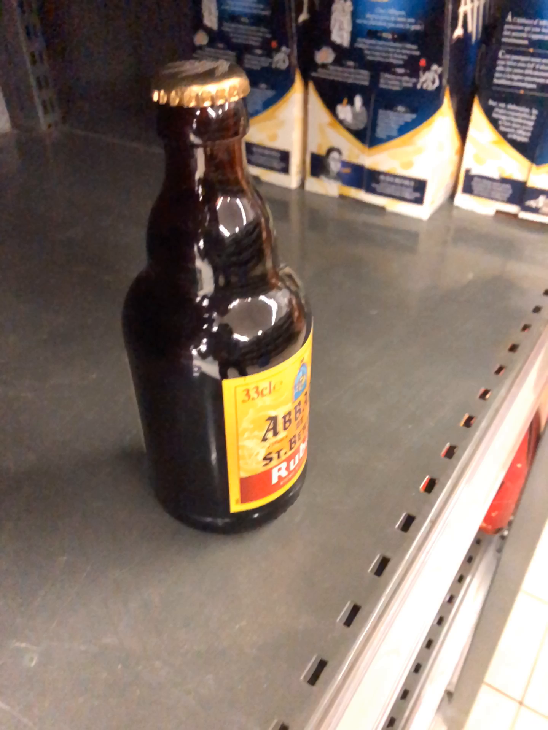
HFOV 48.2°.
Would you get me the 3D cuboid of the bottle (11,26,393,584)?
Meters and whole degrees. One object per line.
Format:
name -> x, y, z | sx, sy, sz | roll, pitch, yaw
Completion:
bottle -> -0.015, -0.017, 0.220 | 0.070, 0.169, 0.081 | 21, 43, 26
